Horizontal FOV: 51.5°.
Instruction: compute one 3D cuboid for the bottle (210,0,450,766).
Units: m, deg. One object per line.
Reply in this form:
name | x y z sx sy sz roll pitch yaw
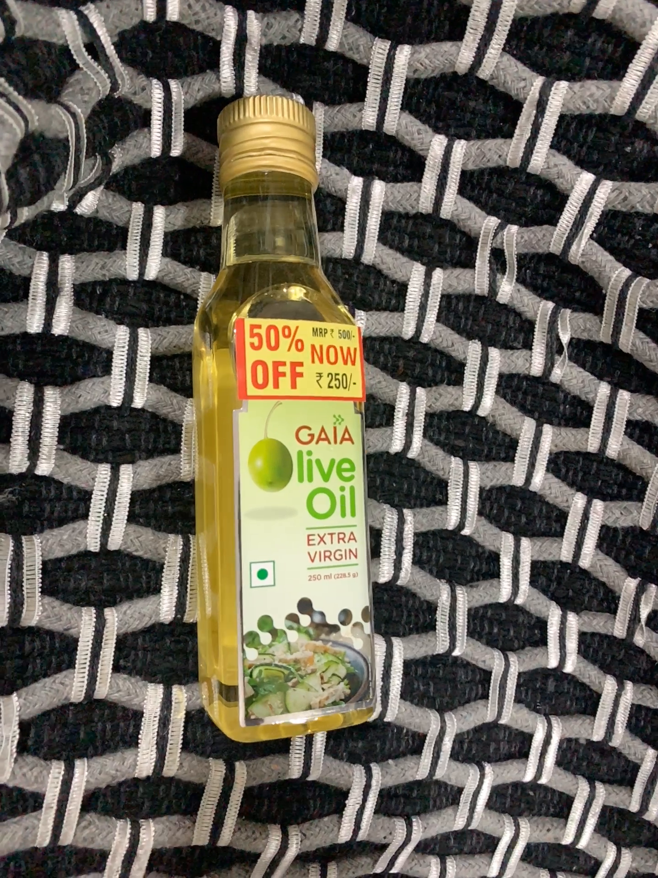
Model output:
bottle | -0.004 -0.017 0.196 0.050 0.050 0.190 1 85 -21
